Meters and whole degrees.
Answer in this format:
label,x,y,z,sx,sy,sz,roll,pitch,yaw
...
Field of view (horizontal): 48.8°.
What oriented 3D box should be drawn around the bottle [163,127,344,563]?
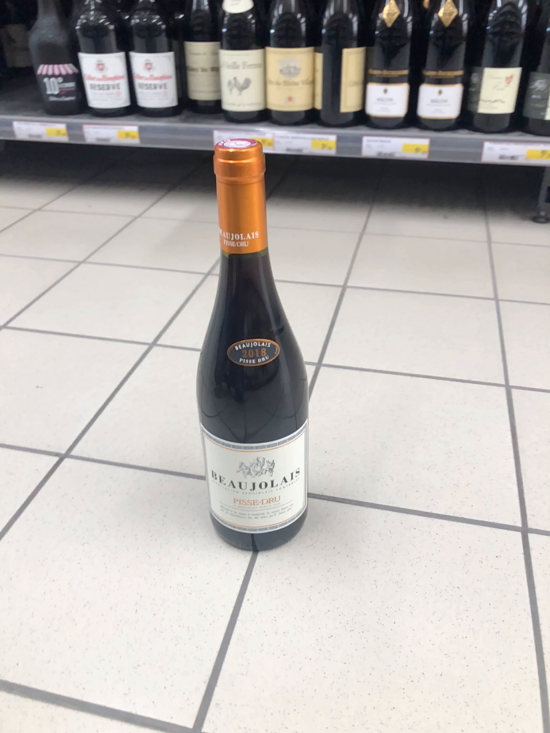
label,x,y,z,sx,sy,sz,roll,pitch,yaw
bottle,-0.005,-0.002,0.415,0.090,0.288,0.091,-1,32,0
